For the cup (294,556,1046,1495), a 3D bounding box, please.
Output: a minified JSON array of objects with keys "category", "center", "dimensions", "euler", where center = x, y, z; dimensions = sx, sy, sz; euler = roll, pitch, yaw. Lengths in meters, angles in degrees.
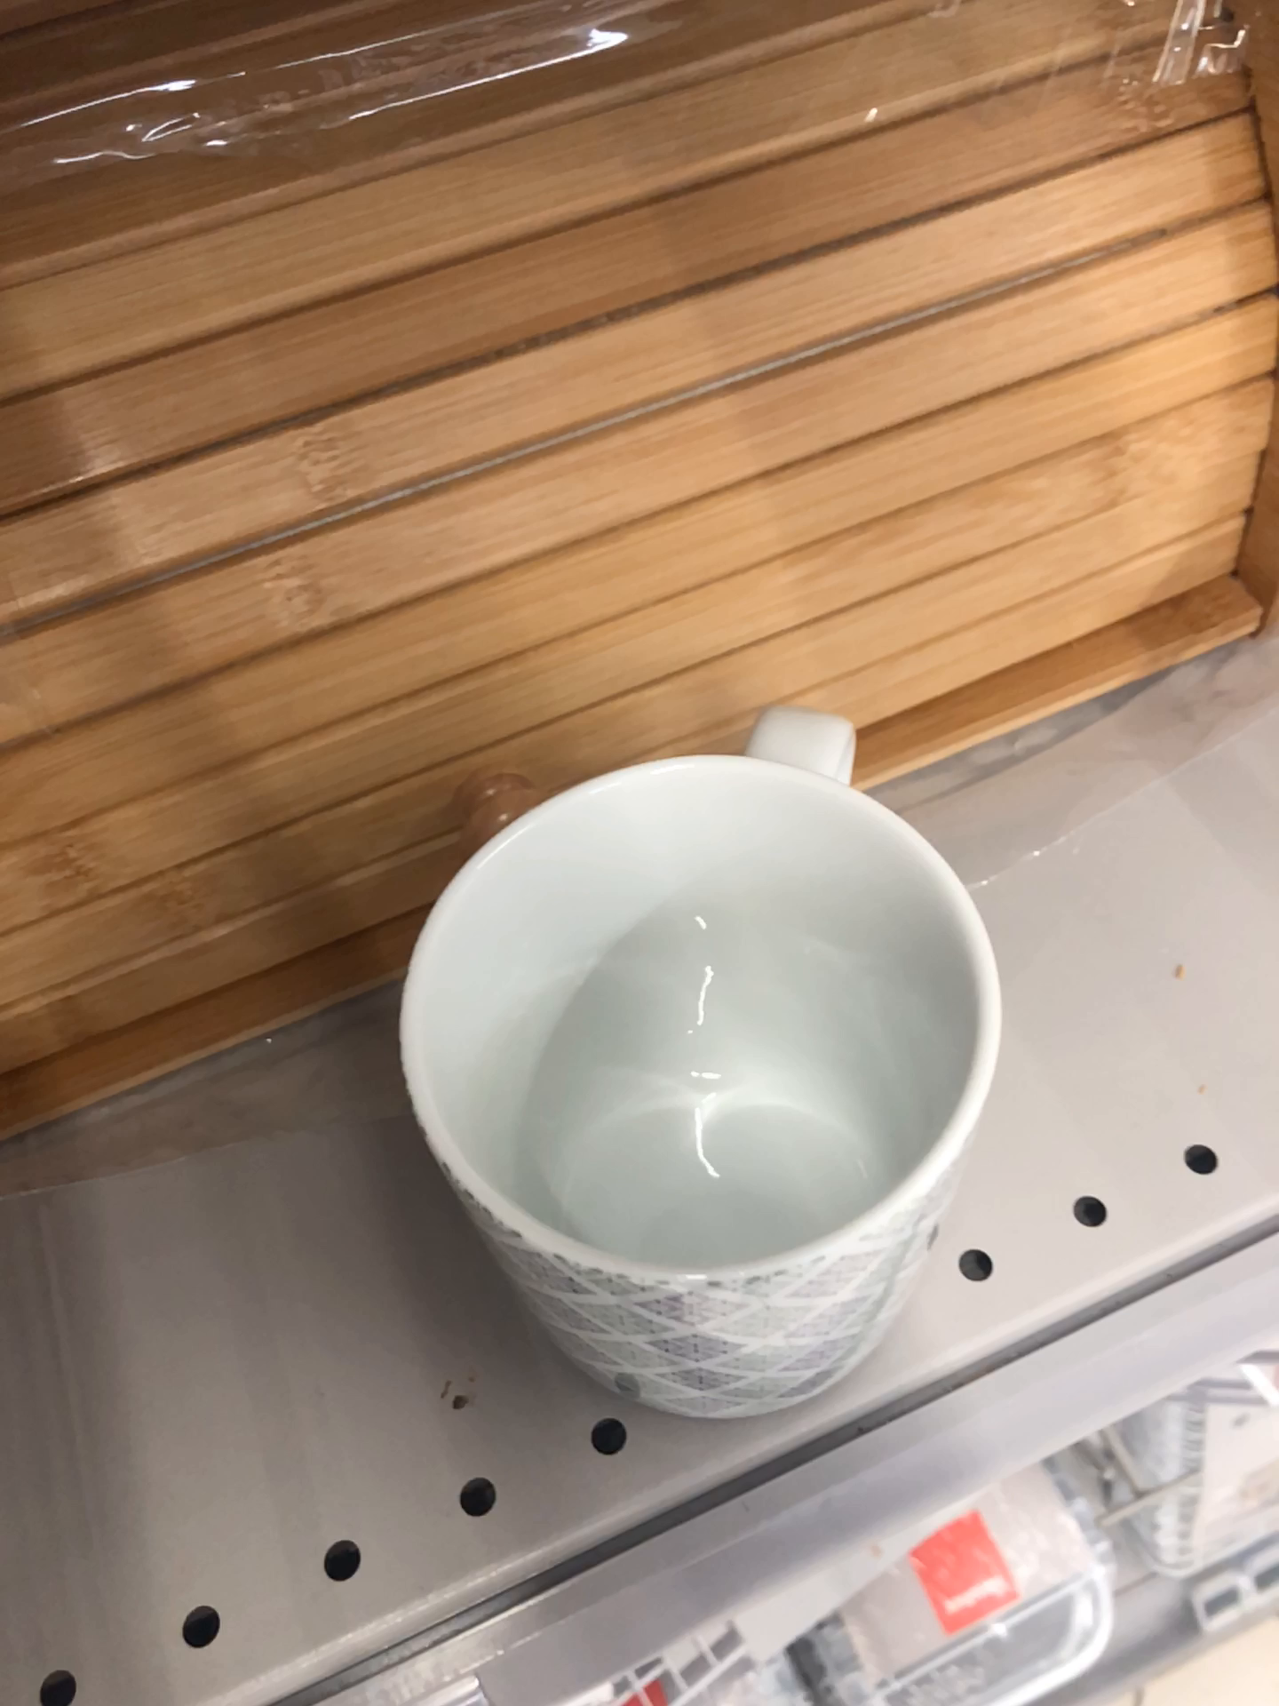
[{"category":"cup","center":[0.014,0.028,0.246],"dimensions":[0.085,0.090,0.119],"euler":[9,55,11]}]
